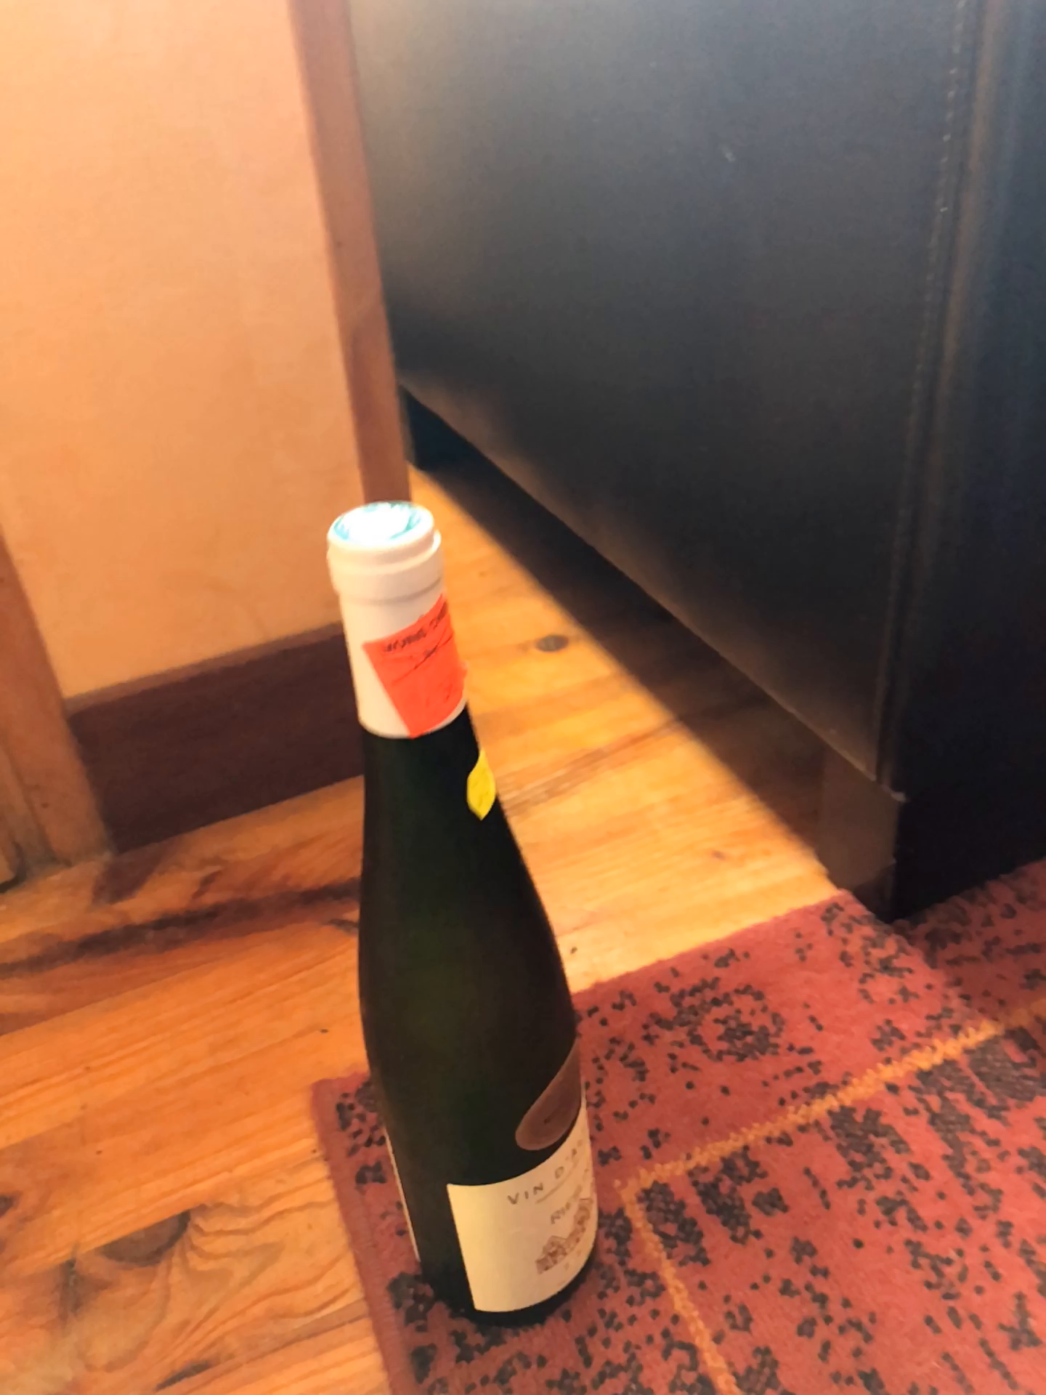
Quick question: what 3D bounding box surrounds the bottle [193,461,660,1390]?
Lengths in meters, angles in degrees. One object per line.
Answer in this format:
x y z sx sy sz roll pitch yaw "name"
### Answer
-0.010 0.087 0.357 0.080 0.298 0.081 -3 36 2 "bottle"
